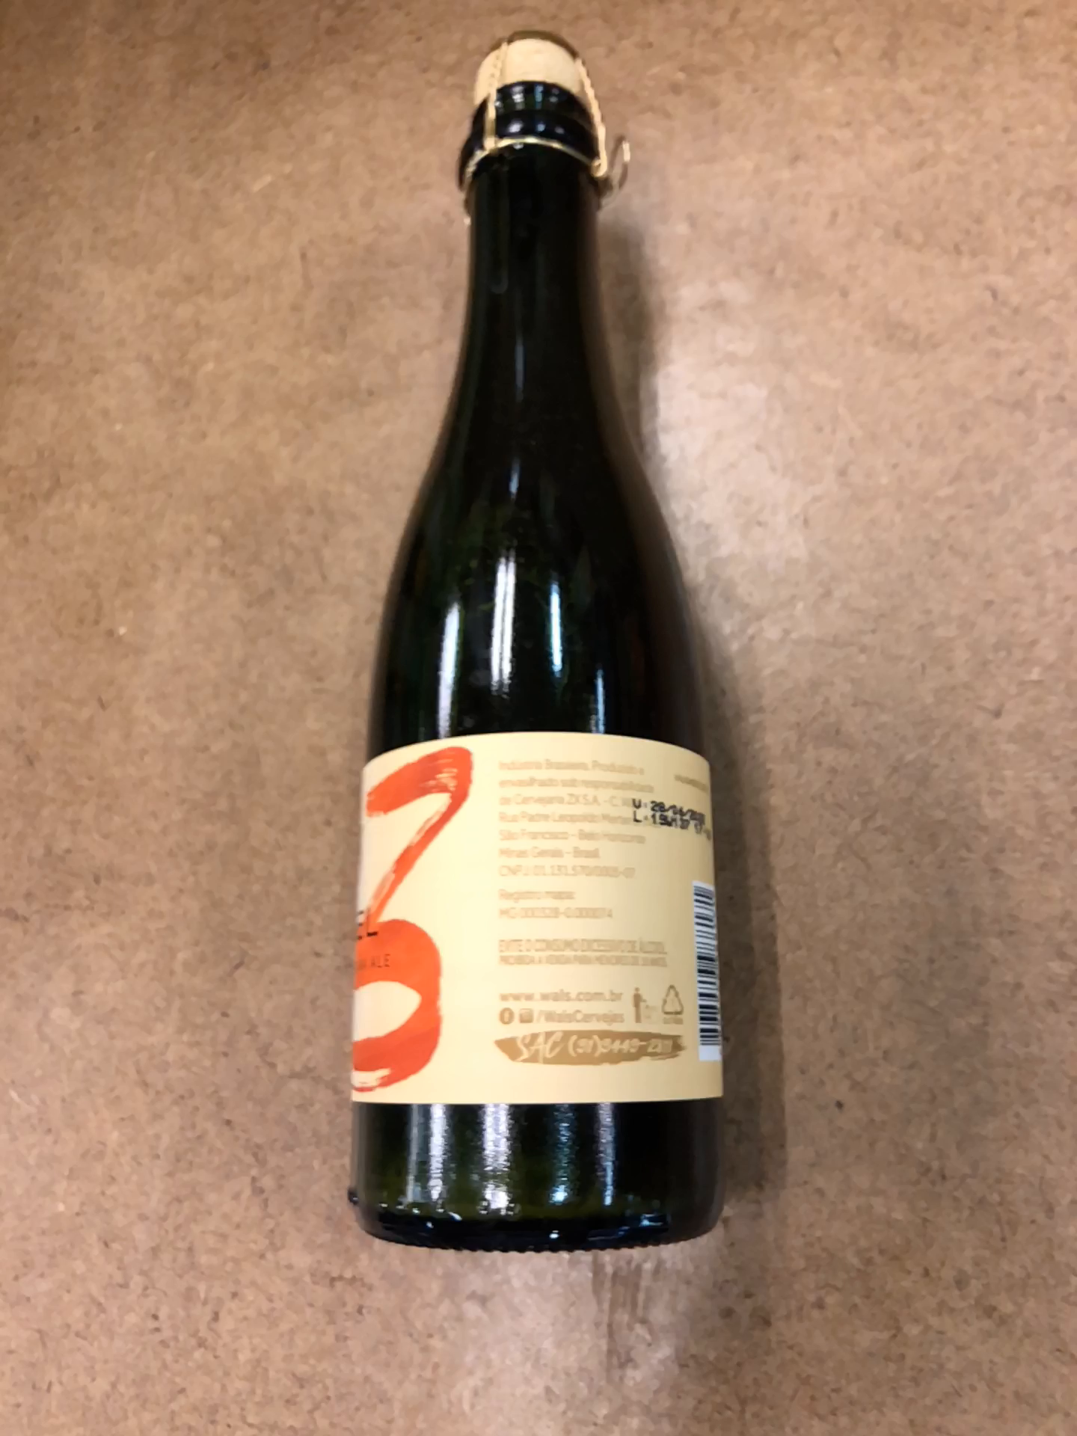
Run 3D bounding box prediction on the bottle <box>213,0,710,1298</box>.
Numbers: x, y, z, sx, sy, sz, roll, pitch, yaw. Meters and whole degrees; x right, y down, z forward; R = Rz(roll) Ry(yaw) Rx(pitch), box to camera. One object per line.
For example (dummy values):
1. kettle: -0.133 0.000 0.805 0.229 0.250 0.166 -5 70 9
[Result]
1. bottle: -0.010 -0.040 0.238 0.070 0.050 0.270 -4 74 14
